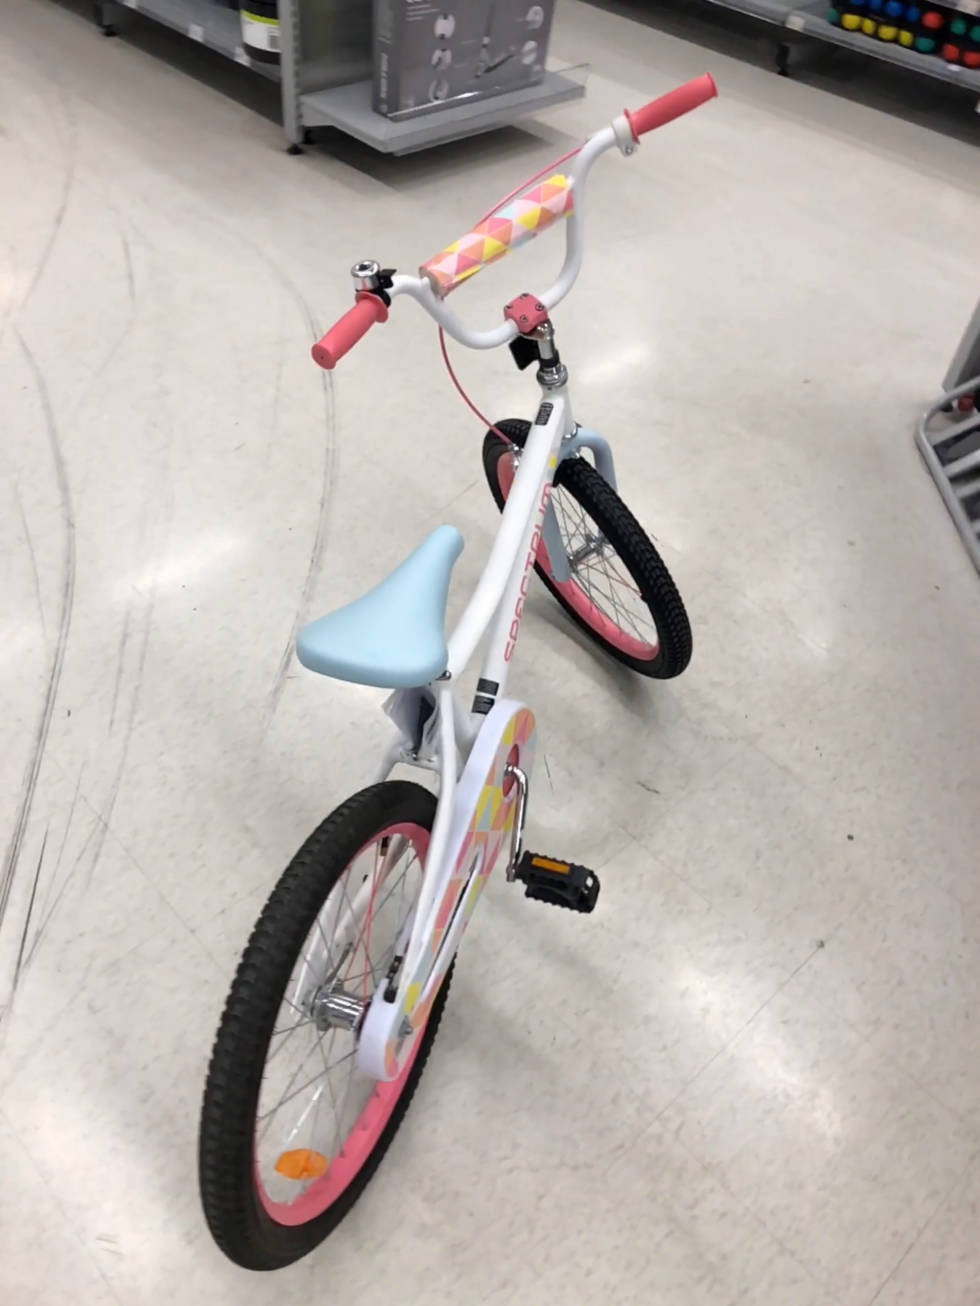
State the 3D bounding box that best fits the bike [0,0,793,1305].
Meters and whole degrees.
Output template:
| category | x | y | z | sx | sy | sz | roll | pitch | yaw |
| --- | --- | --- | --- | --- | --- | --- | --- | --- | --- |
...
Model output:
| category | x | y | z | sx | sy | sz | roll | pitch | yaw |
| --- | --- | --- | --- | --- | --- | --- | --- | --- | --- |
| bike | -0.099 | -0.040 | 1.266 | 0.631 | 0.962 | 1.258 | 13 | 44 | 6 |
